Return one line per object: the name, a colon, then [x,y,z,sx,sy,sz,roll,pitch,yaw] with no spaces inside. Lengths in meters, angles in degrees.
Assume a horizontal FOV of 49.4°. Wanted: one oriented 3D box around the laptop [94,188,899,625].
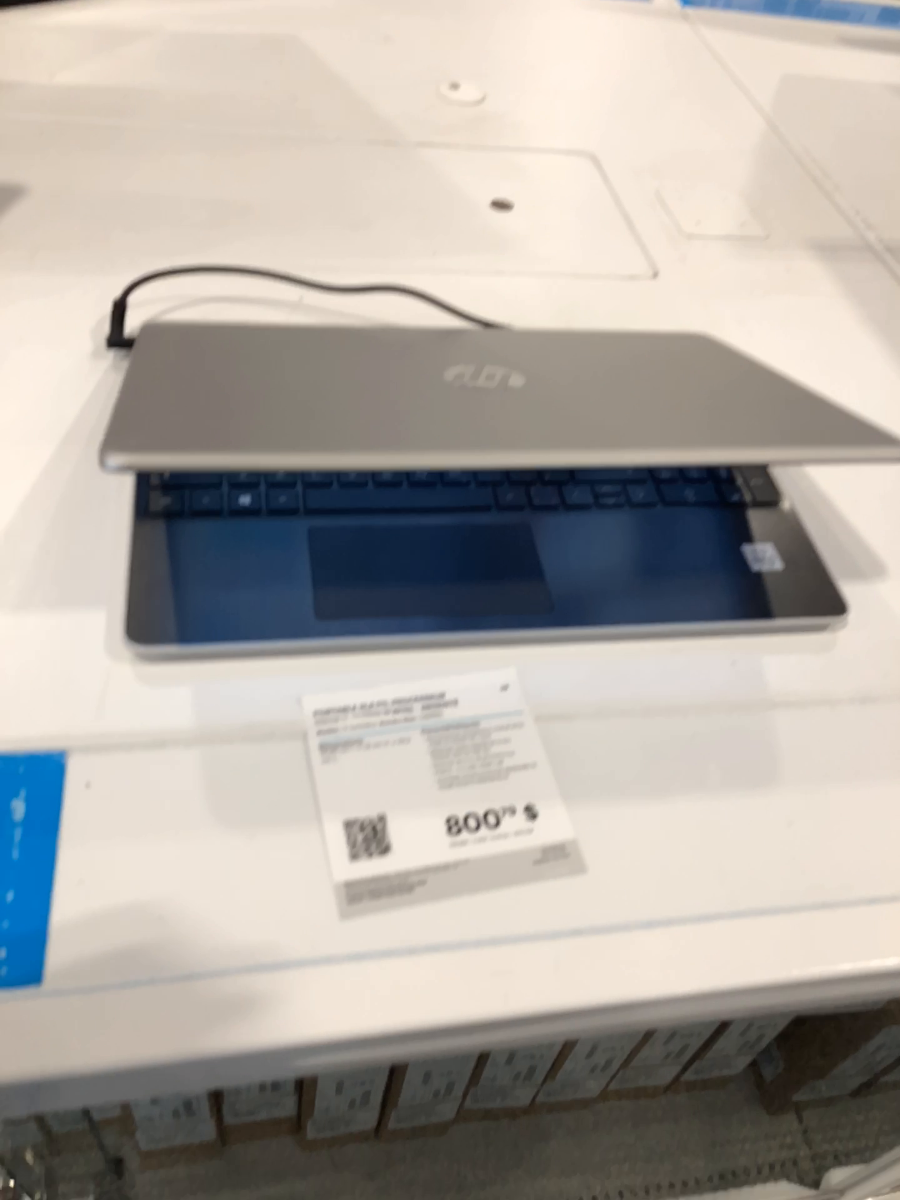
laptop: [0.012,-0.110,0.501,0.341,0.086,0.229,-2,49,-10]
